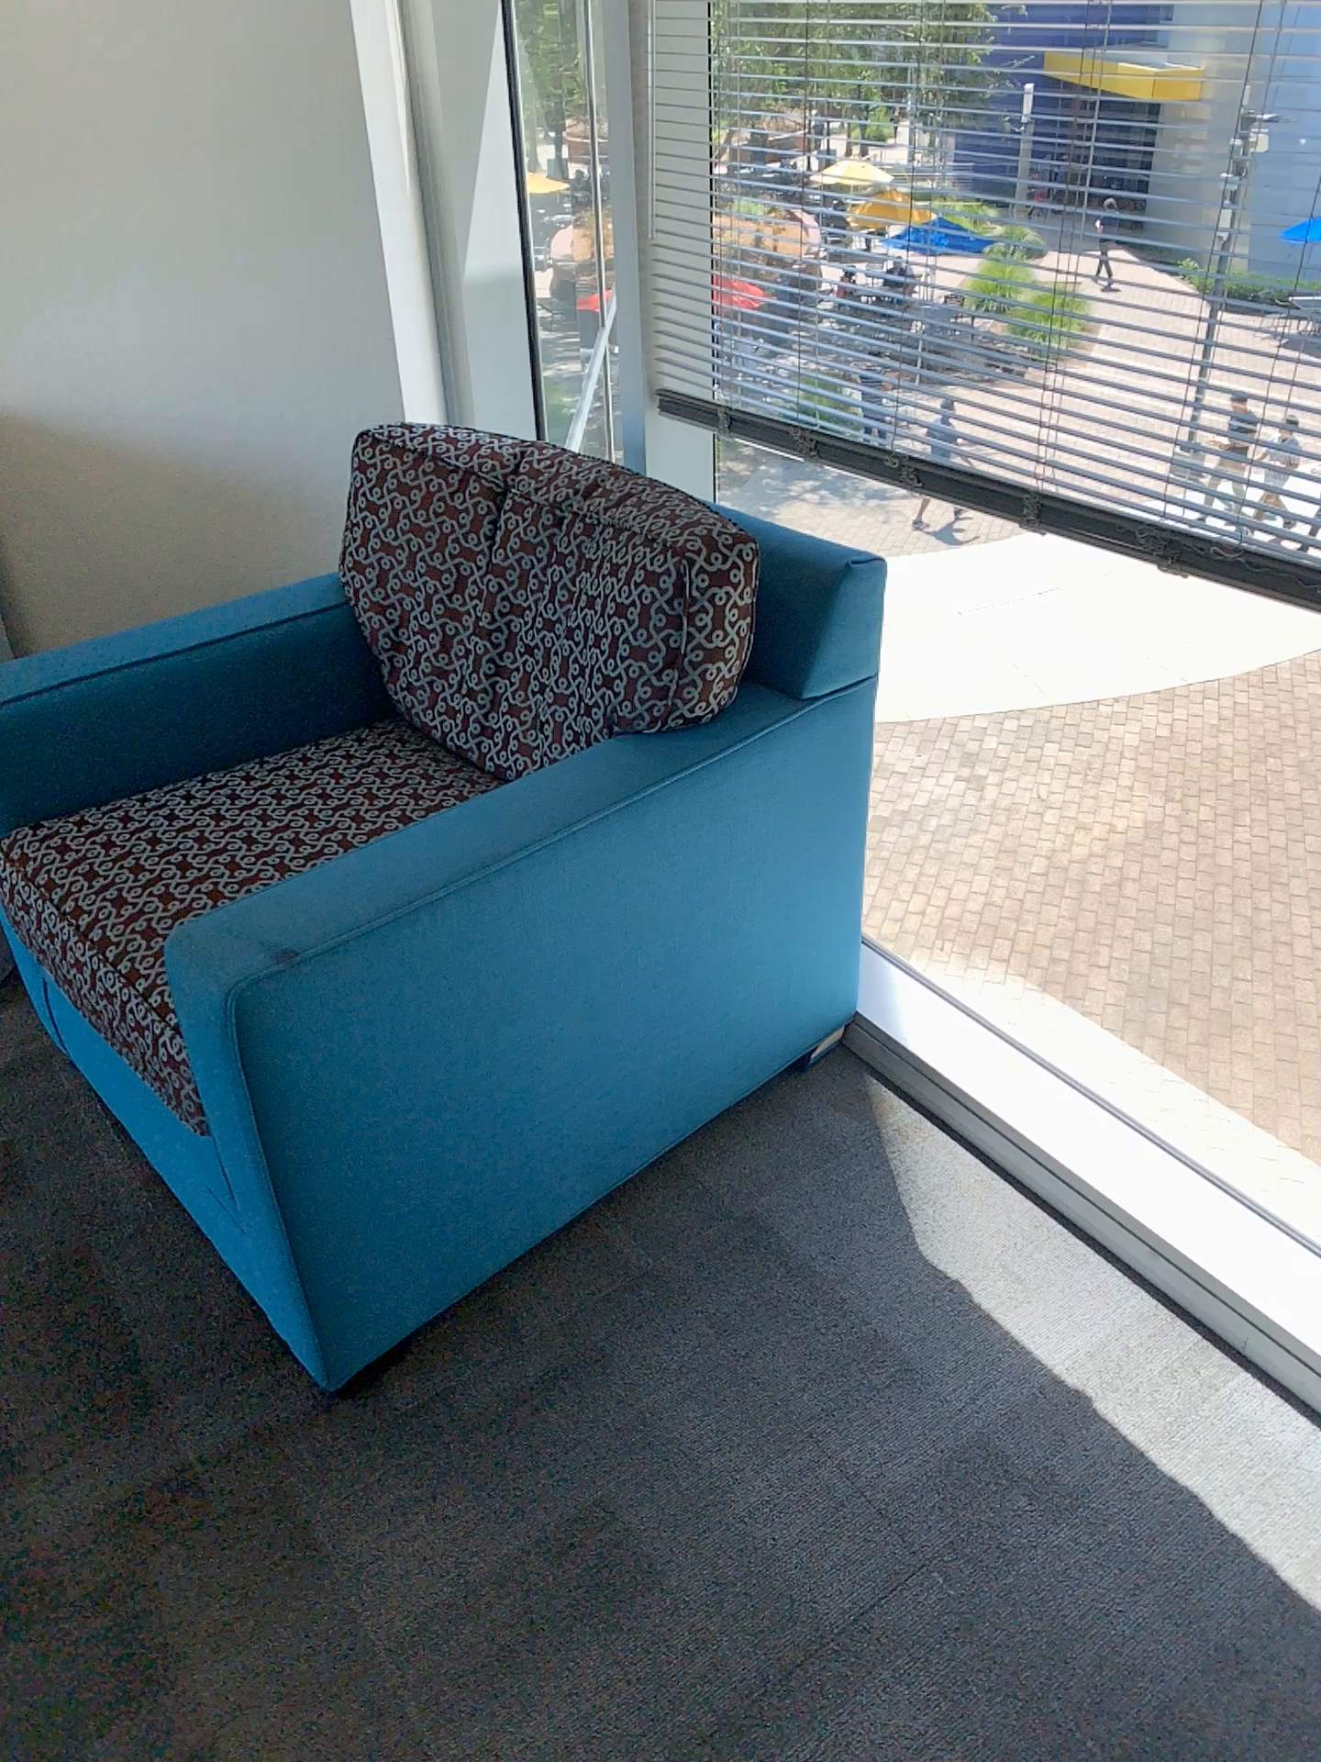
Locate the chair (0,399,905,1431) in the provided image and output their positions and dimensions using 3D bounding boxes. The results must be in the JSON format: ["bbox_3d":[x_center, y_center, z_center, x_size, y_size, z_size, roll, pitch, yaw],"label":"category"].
[{"bbox_3d":[-0.351,-0.080,1.835,0.911,0.805,0.935,-27,40,-33],"label":"chair"}]
